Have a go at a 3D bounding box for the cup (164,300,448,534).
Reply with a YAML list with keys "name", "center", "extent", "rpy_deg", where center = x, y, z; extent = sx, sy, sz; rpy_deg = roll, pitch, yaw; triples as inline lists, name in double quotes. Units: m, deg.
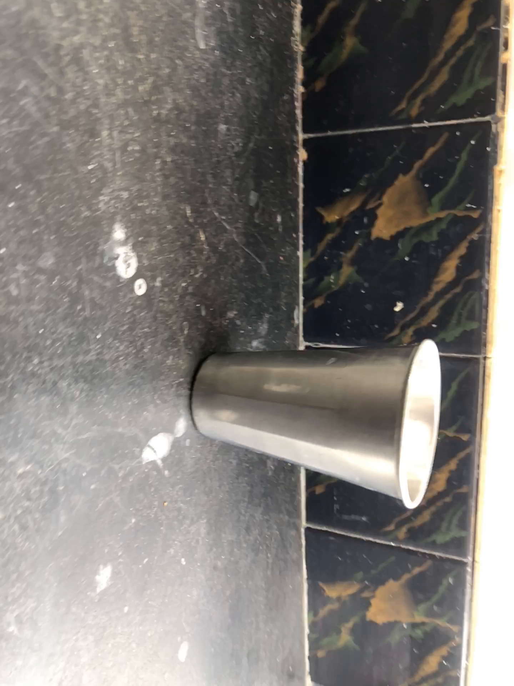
- name: "cup"
  center: [0.030, 0.032, 0.295]
  extent: [0.070, 0.119, 0.080]
  rpy_deg: [-52, 139, -49]
